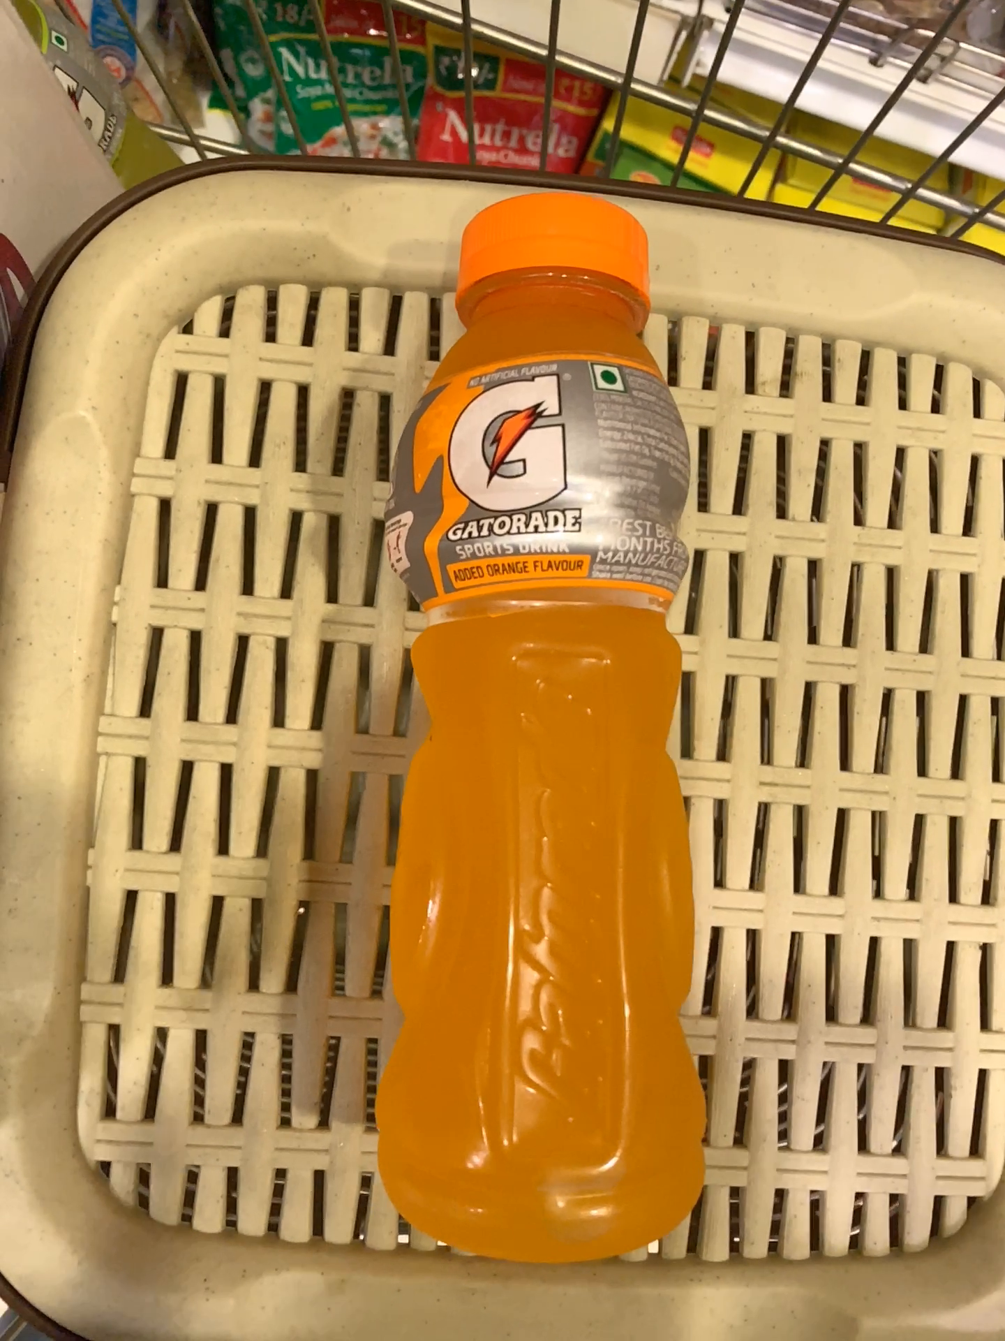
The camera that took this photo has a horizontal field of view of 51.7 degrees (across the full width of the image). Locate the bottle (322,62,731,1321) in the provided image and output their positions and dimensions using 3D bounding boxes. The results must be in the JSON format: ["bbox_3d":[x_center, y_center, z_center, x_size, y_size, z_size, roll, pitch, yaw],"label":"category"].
[{"bbox_3d":[0.010,0.001,0.212,0.060,0.060,0.210,-1,84,23],"label":"bottle"}]
